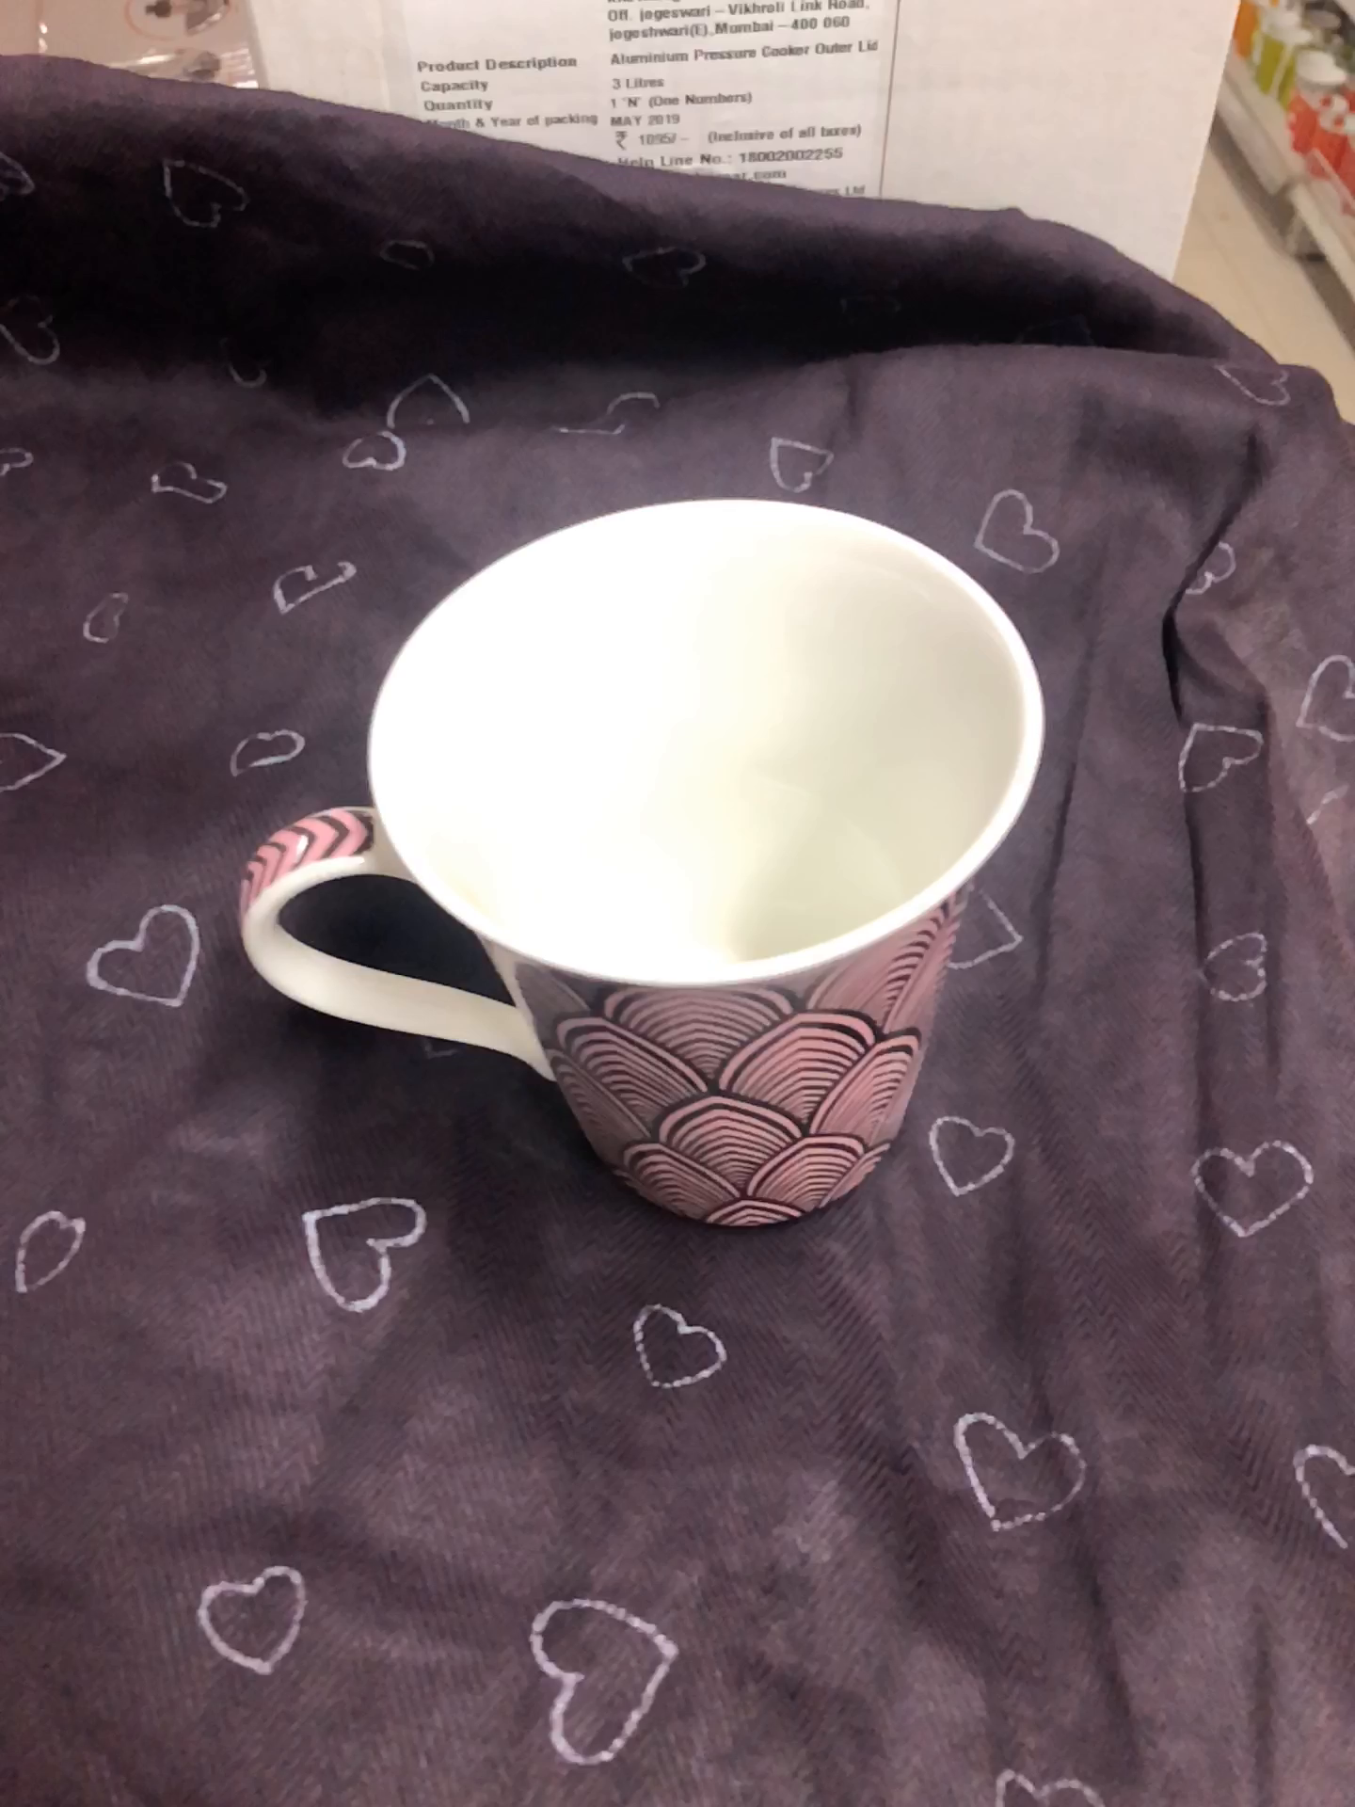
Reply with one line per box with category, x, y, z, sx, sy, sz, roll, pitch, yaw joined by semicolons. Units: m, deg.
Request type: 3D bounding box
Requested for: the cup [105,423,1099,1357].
cup;-0.012;0.001;0.247;0.120;0.099;0.091;-11;52;-2
